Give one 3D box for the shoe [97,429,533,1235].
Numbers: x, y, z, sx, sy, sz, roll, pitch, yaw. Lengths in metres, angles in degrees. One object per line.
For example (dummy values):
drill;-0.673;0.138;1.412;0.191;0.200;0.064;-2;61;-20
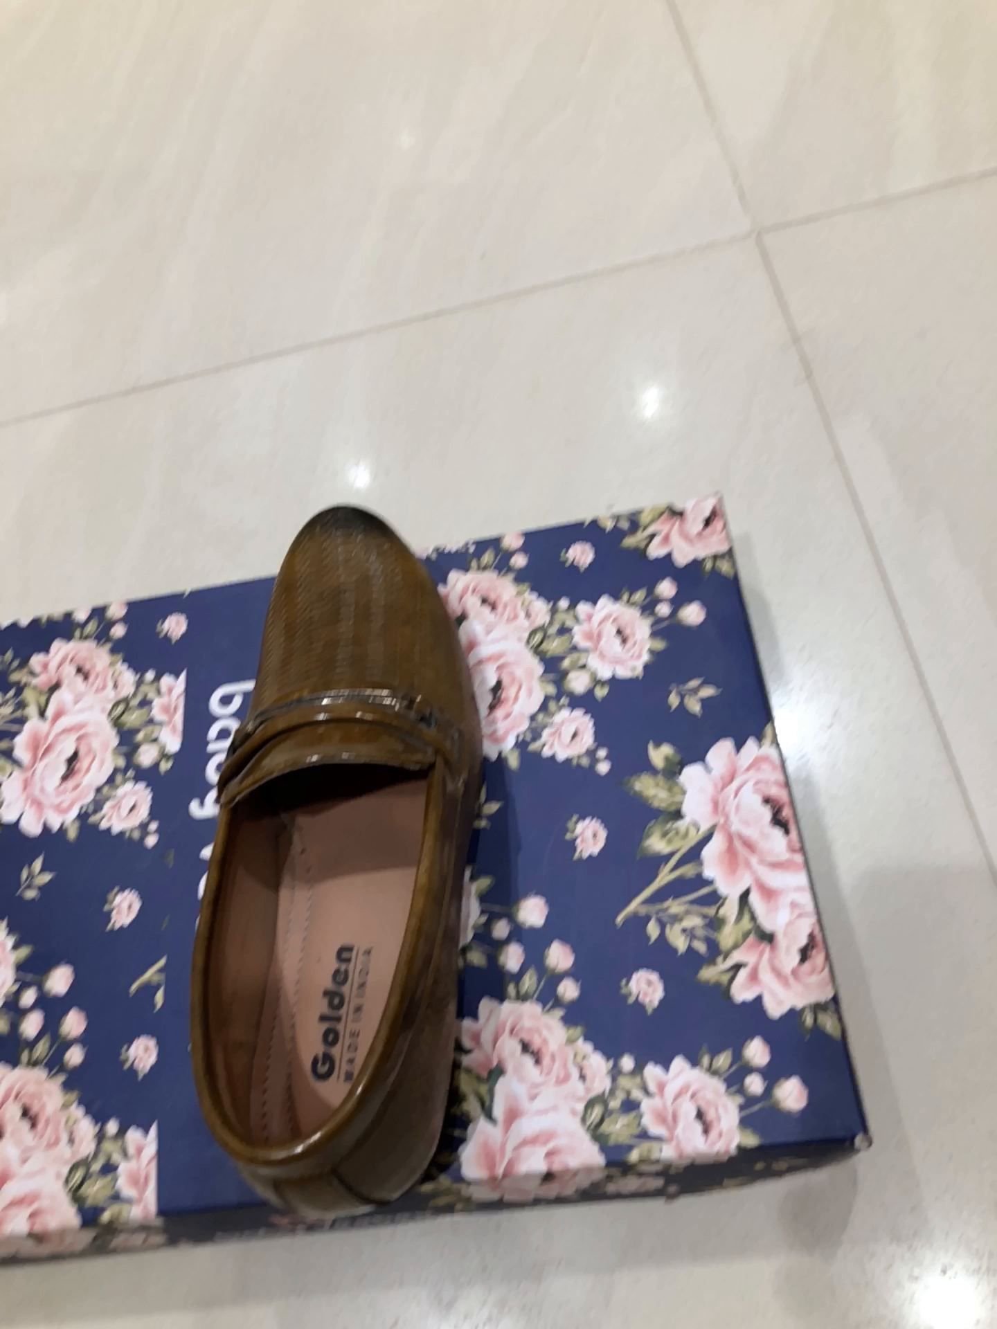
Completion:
shoe;-0.052;0.046;0.329;0.090;0.080;0.211;-10;64;6
